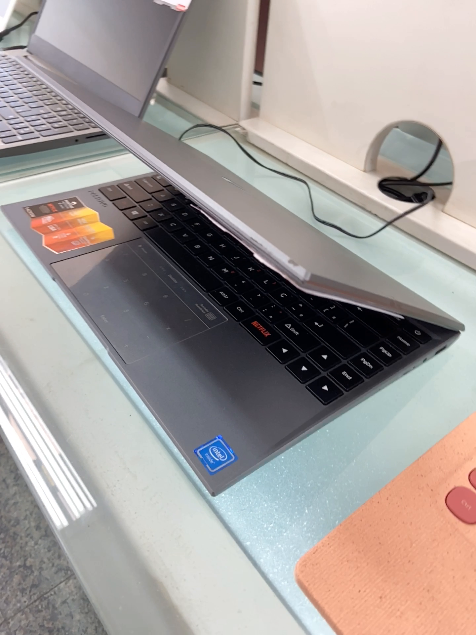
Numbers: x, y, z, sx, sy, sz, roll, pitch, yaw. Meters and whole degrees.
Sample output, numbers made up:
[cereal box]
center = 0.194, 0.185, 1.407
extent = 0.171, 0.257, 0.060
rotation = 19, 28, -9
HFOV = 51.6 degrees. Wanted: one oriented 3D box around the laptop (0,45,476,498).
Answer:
[laptop]
center = -0.026, -0.085, 0.355
extent = 0.211, 0.113, 0.334
rotation = -24, 48, -28
